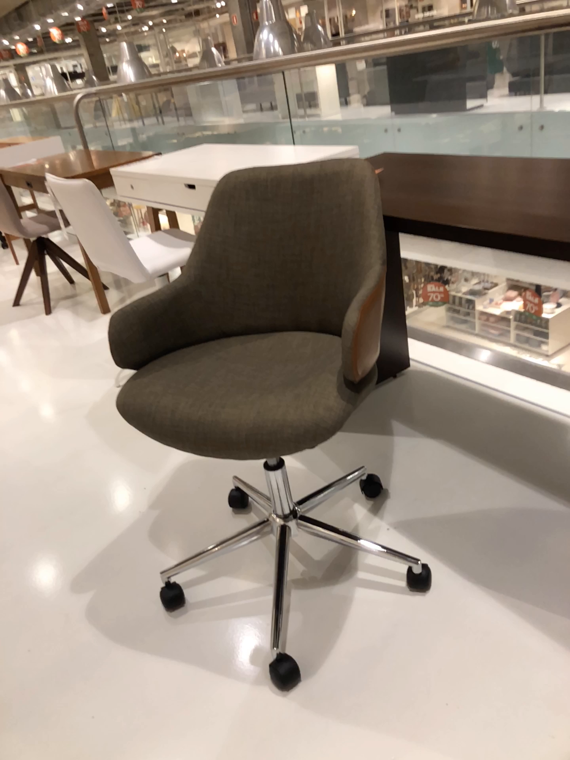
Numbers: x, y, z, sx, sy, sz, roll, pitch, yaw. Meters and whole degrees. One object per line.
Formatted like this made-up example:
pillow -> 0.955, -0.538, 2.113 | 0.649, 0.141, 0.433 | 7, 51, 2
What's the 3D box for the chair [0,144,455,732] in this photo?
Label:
chair -> -0.026, 0.061, 1.329 | 0.611, 0.883, 0.705 | 2, 29, 24
